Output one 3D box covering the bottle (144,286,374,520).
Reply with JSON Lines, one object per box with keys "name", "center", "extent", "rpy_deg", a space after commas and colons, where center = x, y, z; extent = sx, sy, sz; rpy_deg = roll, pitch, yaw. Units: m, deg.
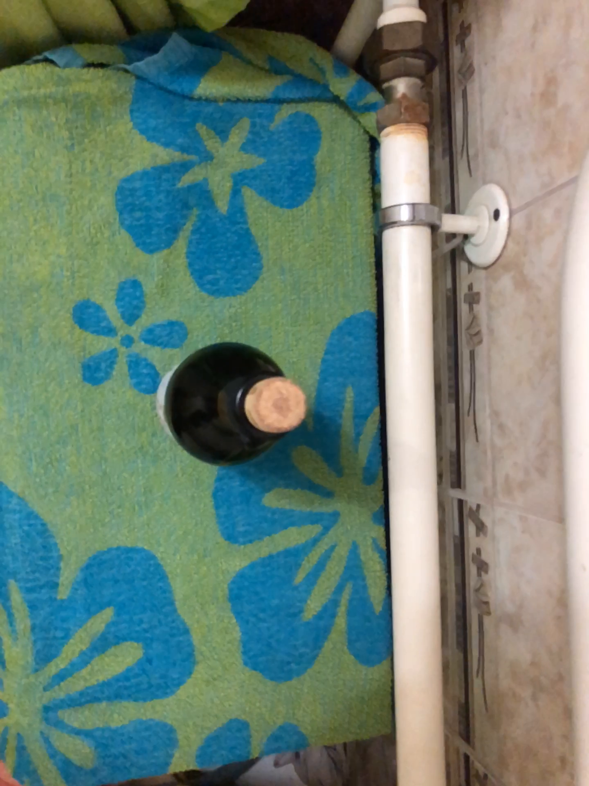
{"name": "bottle", "center": [-0.046, 0.009, 0.391], "extent": [0.080, 0.320, 0.080], "rpy_deg": [0, 88, -12]}
